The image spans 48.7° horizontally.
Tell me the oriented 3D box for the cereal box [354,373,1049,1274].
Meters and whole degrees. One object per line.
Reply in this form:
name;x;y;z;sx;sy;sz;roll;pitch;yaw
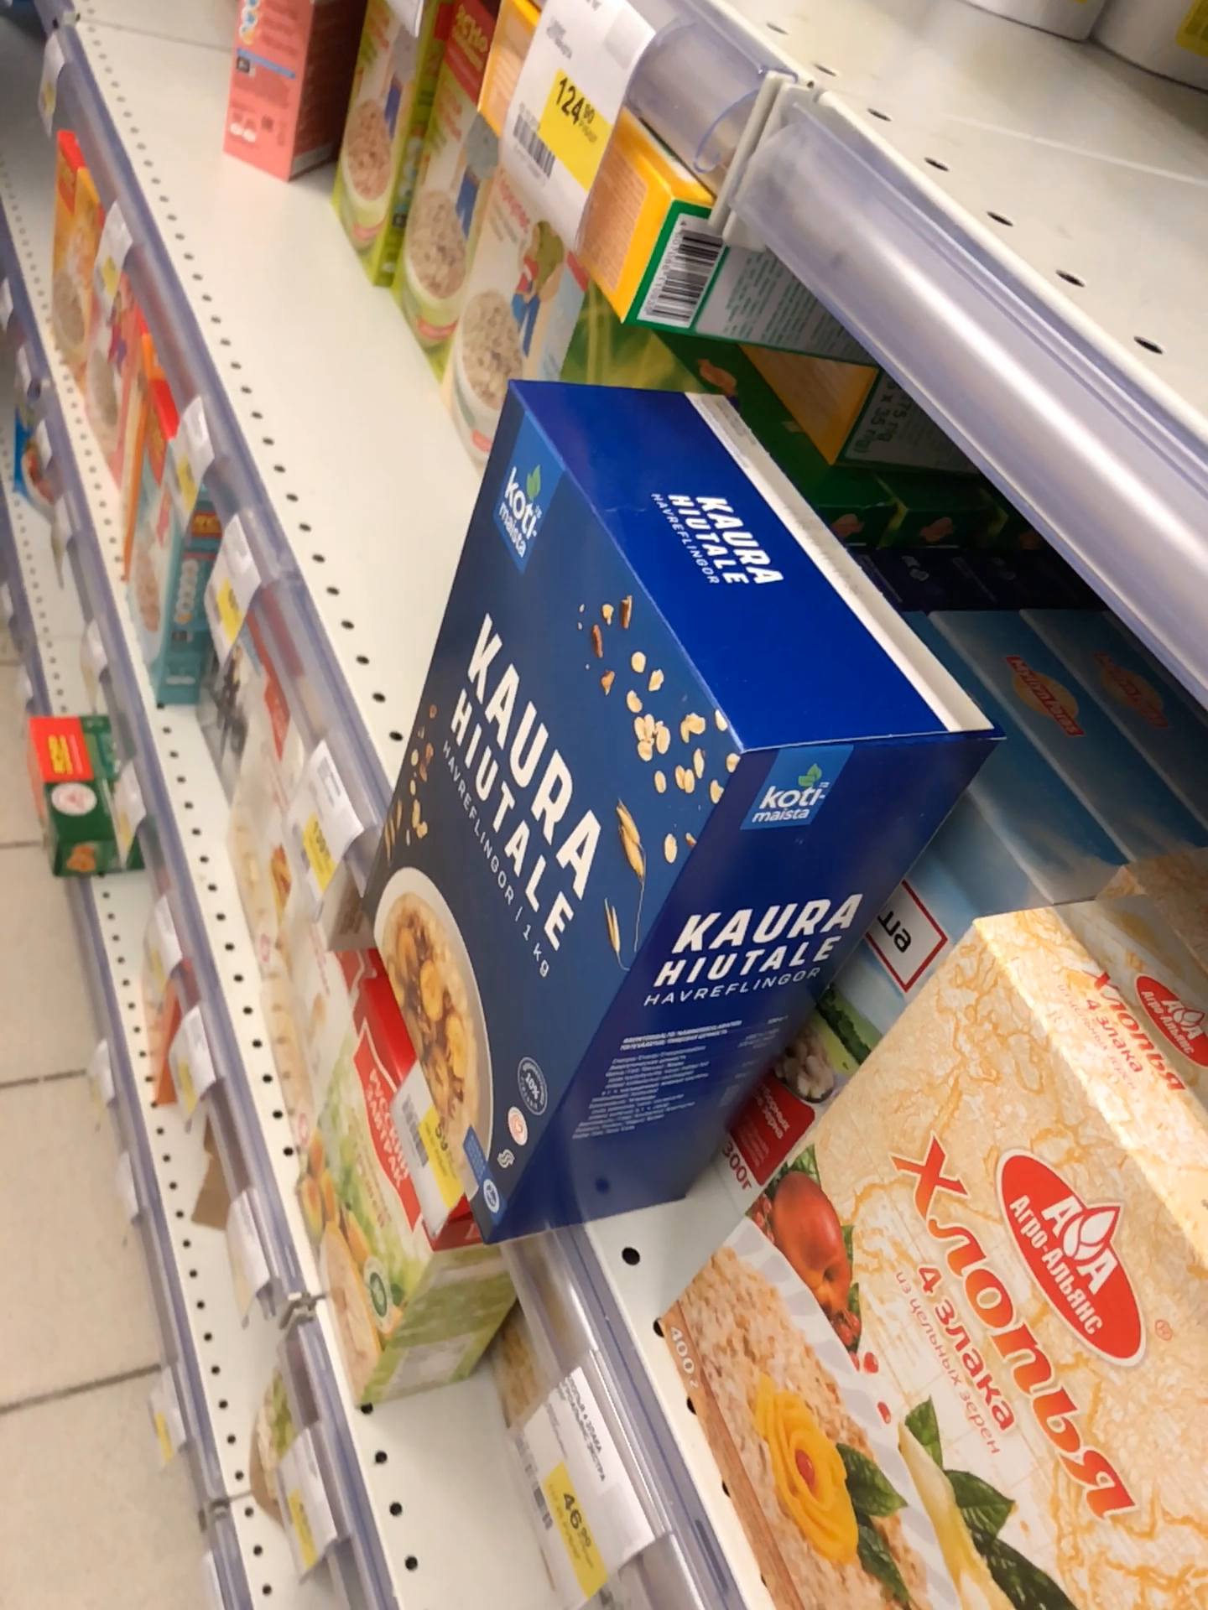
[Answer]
cereal box;0.005;0.013;0.413;0.080;0.229;0.151;-5;49;-30
